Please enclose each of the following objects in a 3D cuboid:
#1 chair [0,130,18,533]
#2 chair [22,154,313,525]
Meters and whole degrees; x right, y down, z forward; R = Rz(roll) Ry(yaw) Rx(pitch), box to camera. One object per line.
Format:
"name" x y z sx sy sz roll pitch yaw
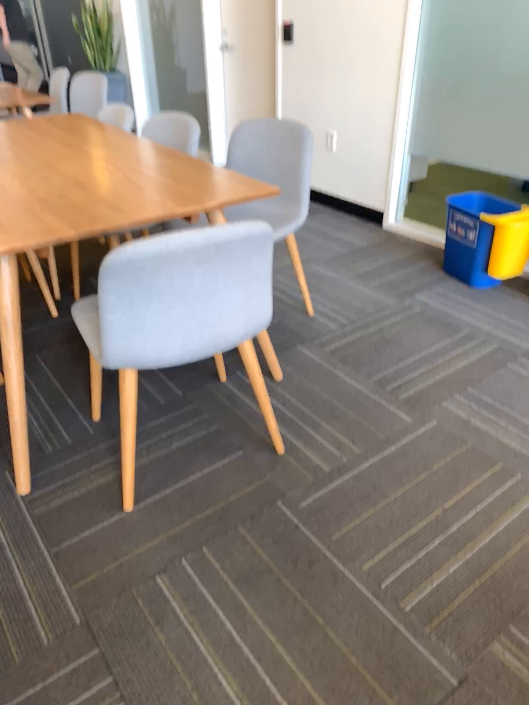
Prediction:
"chair" -1.175 -0.128 1.571 0.630 0.815 0.765 -11 34 -16
"chair" -0.257 -0.071 1.516 0.560 0.775 0.533 -16 36 -23
